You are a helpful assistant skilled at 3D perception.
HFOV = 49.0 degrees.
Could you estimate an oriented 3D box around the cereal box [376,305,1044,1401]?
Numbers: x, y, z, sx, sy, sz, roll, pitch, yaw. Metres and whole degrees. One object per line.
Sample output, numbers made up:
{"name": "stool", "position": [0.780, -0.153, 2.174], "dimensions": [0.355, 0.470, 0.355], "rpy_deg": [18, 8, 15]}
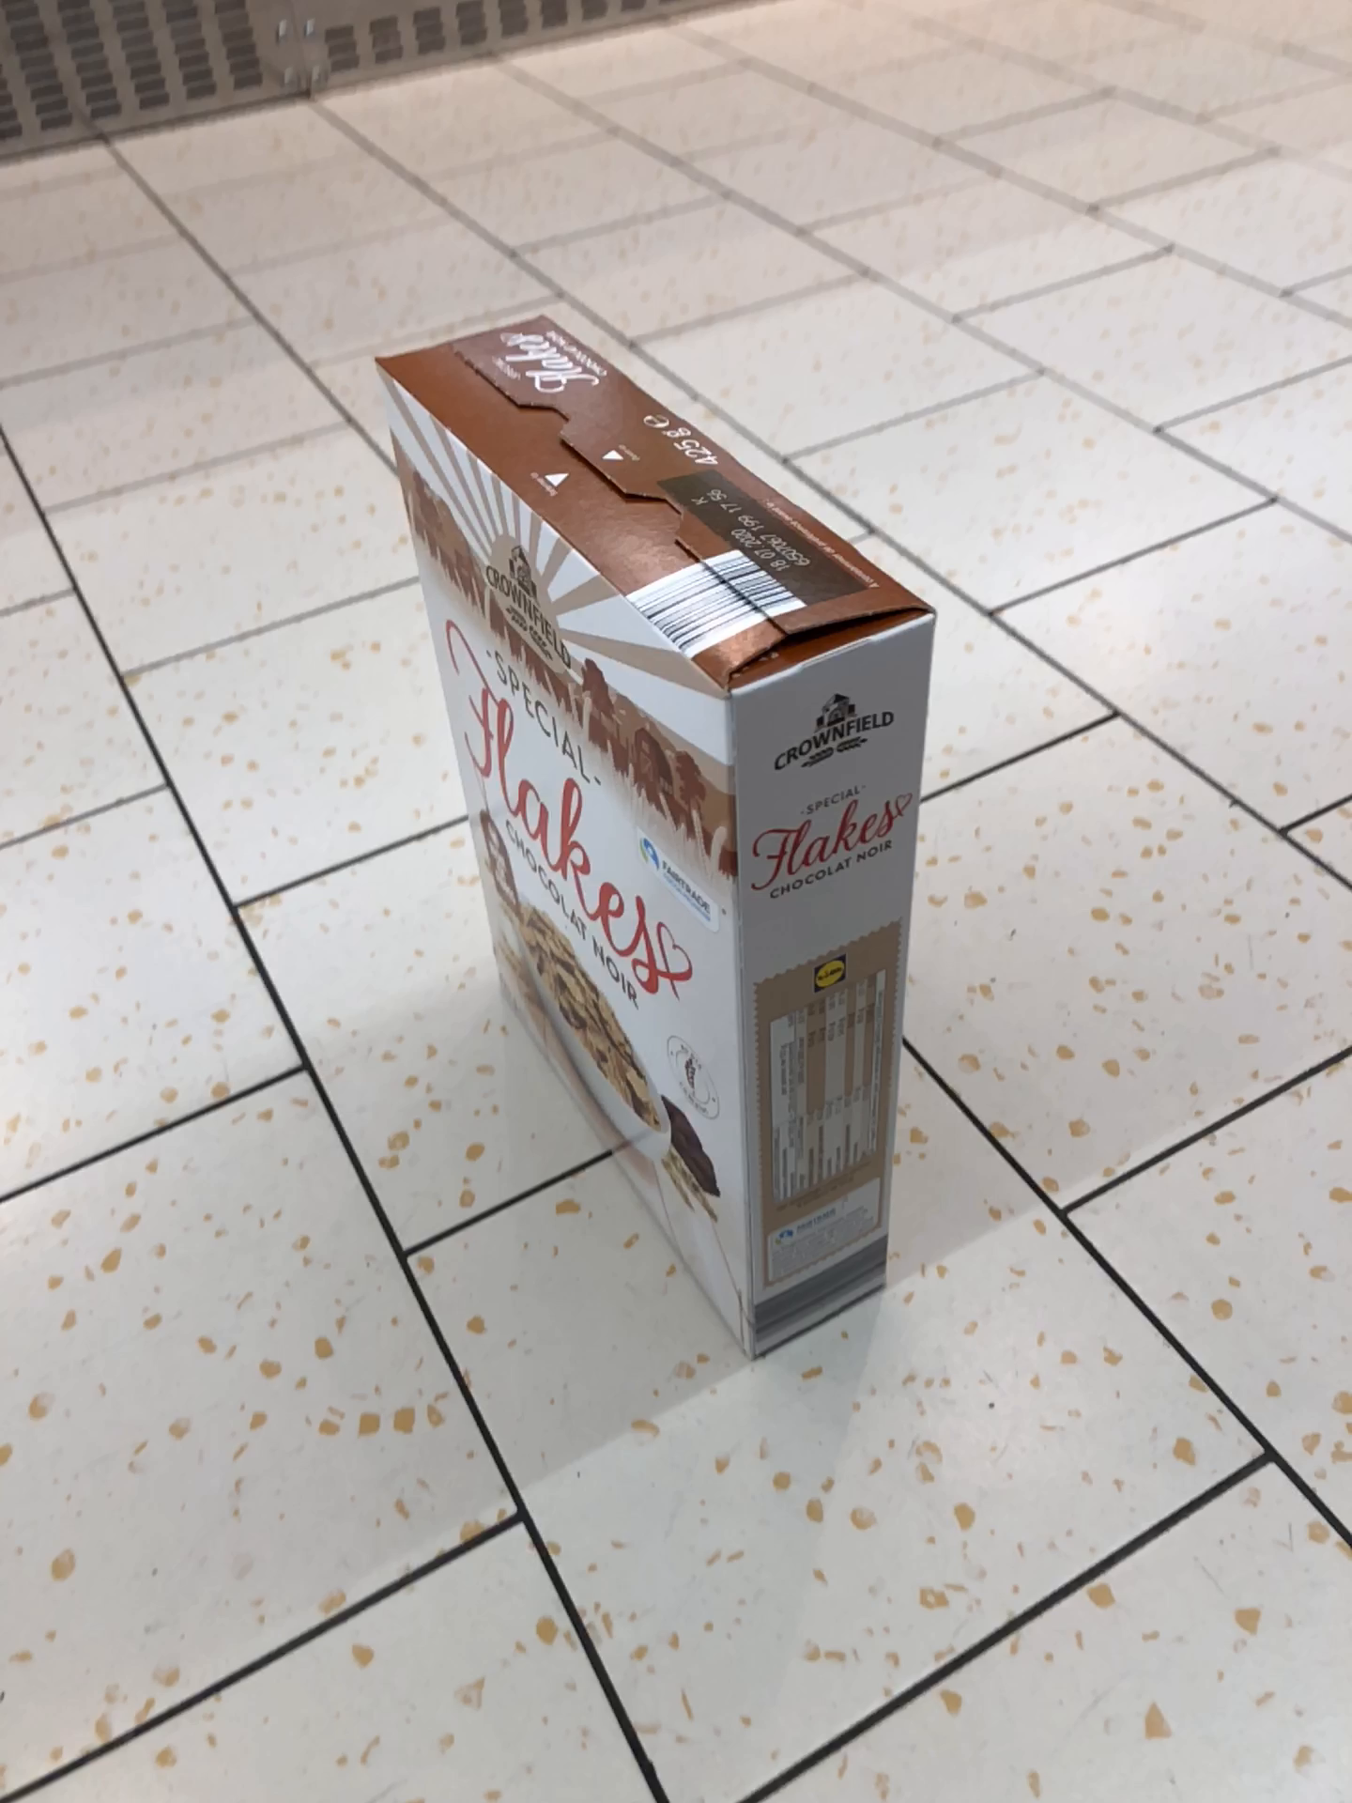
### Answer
{"name": "cereal box", "position": [0.005, -0.011, 0.447], "dimensions": [0.070, 0.258, 0.201], "rpy_deg": [-24, 46, -18]}
